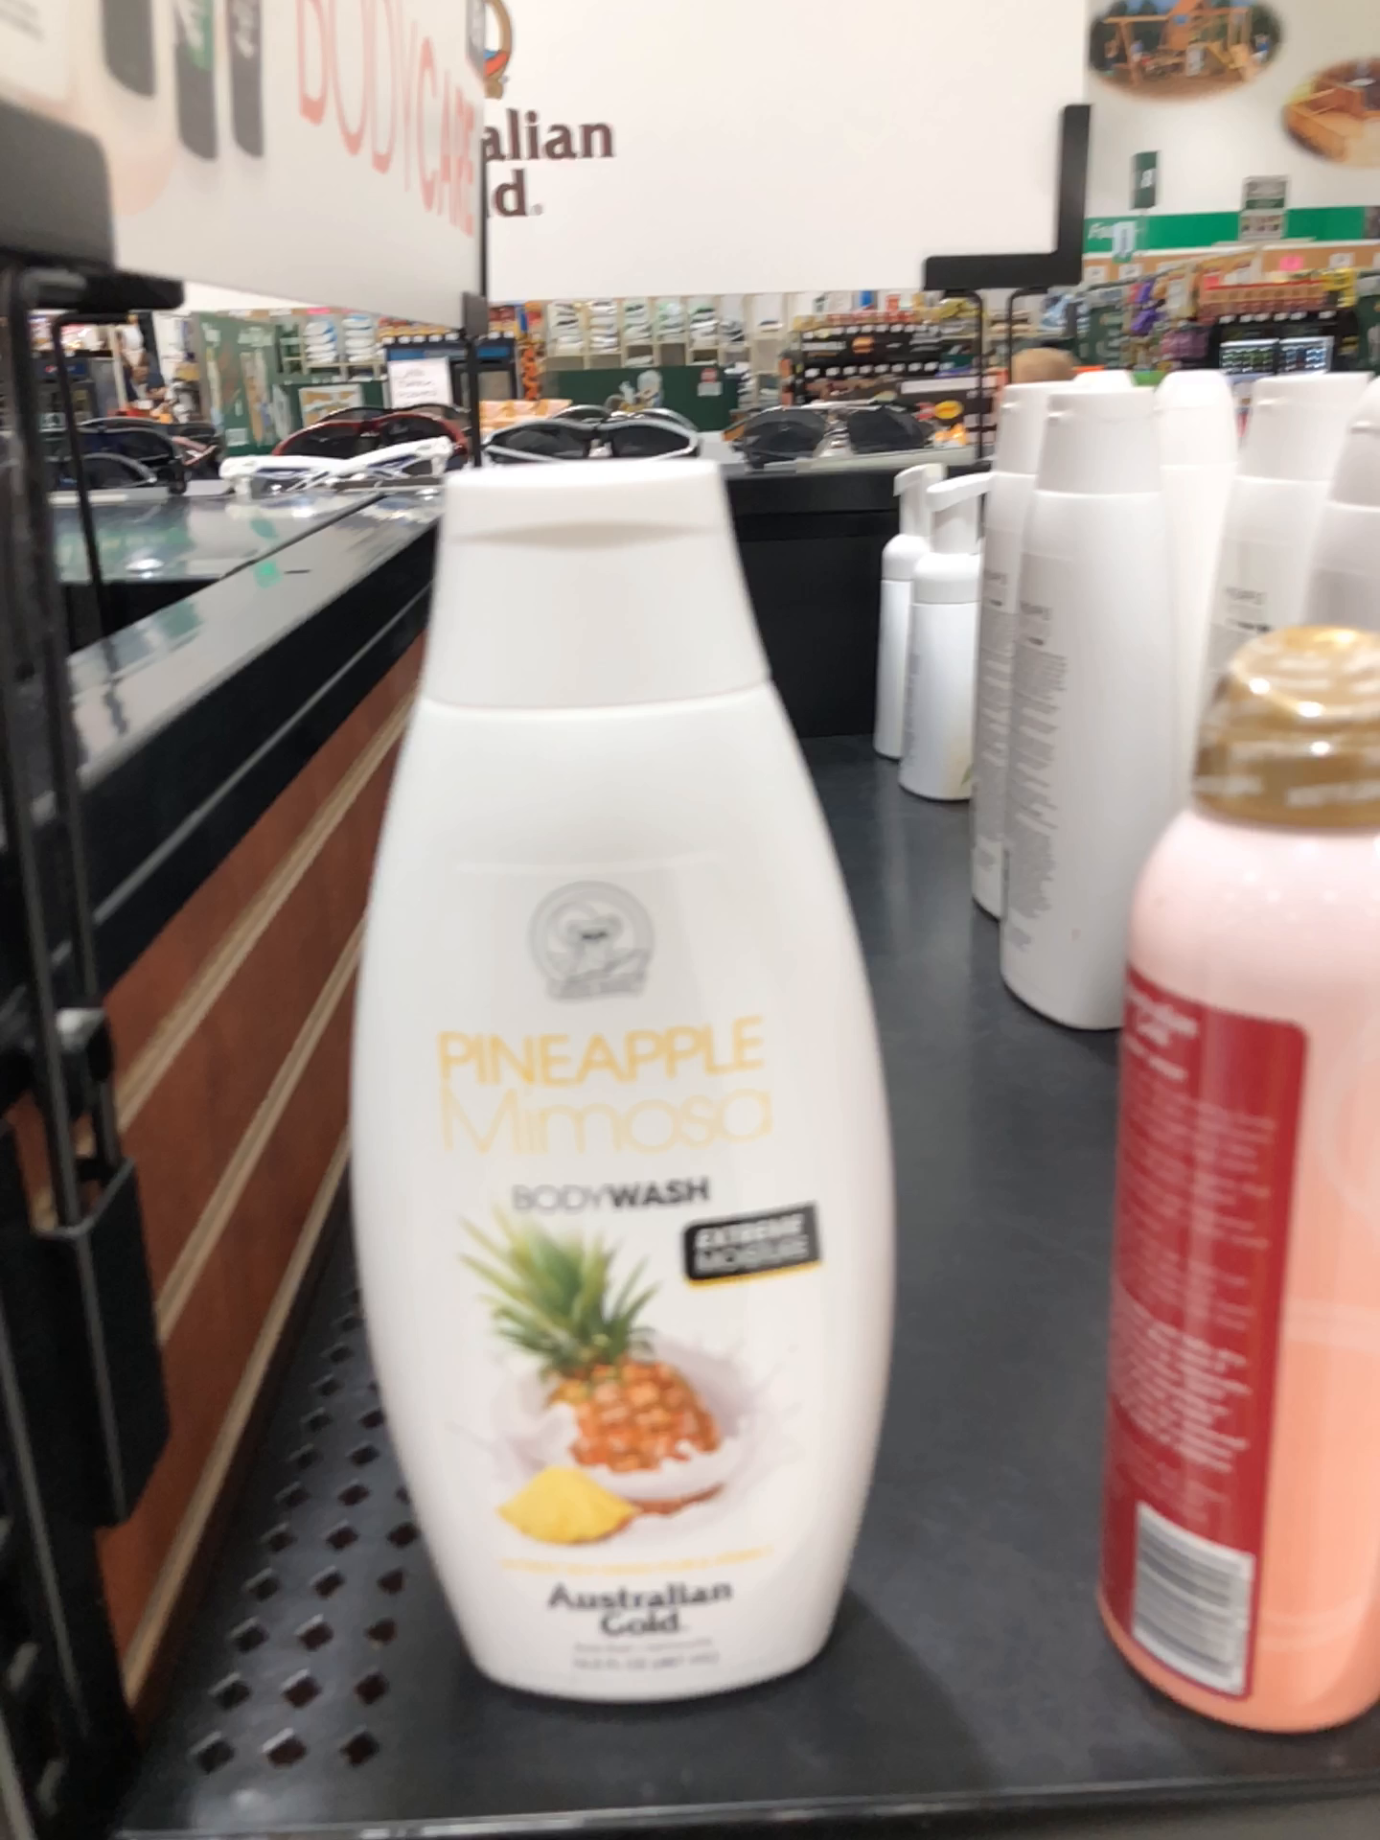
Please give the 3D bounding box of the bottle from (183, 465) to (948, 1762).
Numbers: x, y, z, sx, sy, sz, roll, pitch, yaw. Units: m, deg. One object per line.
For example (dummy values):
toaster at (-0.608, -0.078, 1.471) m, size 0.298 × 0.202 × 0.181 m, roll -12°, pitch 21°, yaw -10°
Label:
bottle at (-0.012, 0.037, 0.261) m, size 0.100 × 0.214 × 0.060 m, roll -2°, pitch 19°, yaw 0°
